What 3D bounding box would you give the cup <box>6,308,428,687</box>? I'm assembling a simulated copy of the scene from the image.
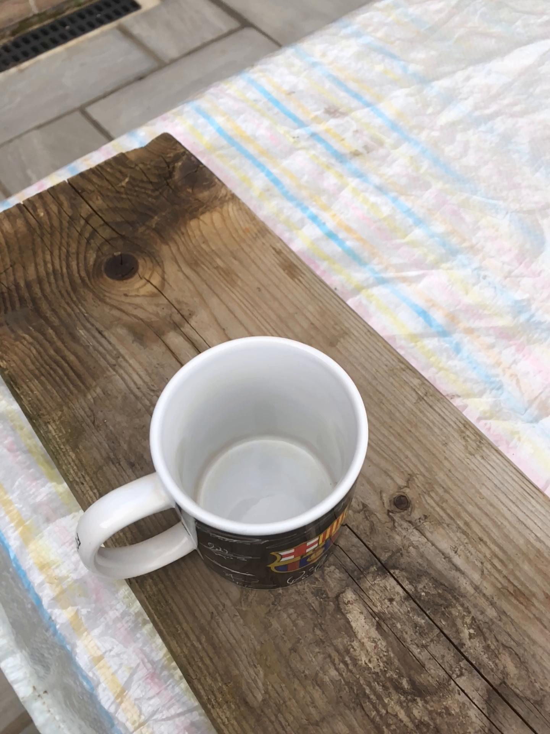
[{"bbox_3d":[-0.023,0.058,0.265,0.130,0.090,0.090,-25,63,-13],"label":"cup"}]
